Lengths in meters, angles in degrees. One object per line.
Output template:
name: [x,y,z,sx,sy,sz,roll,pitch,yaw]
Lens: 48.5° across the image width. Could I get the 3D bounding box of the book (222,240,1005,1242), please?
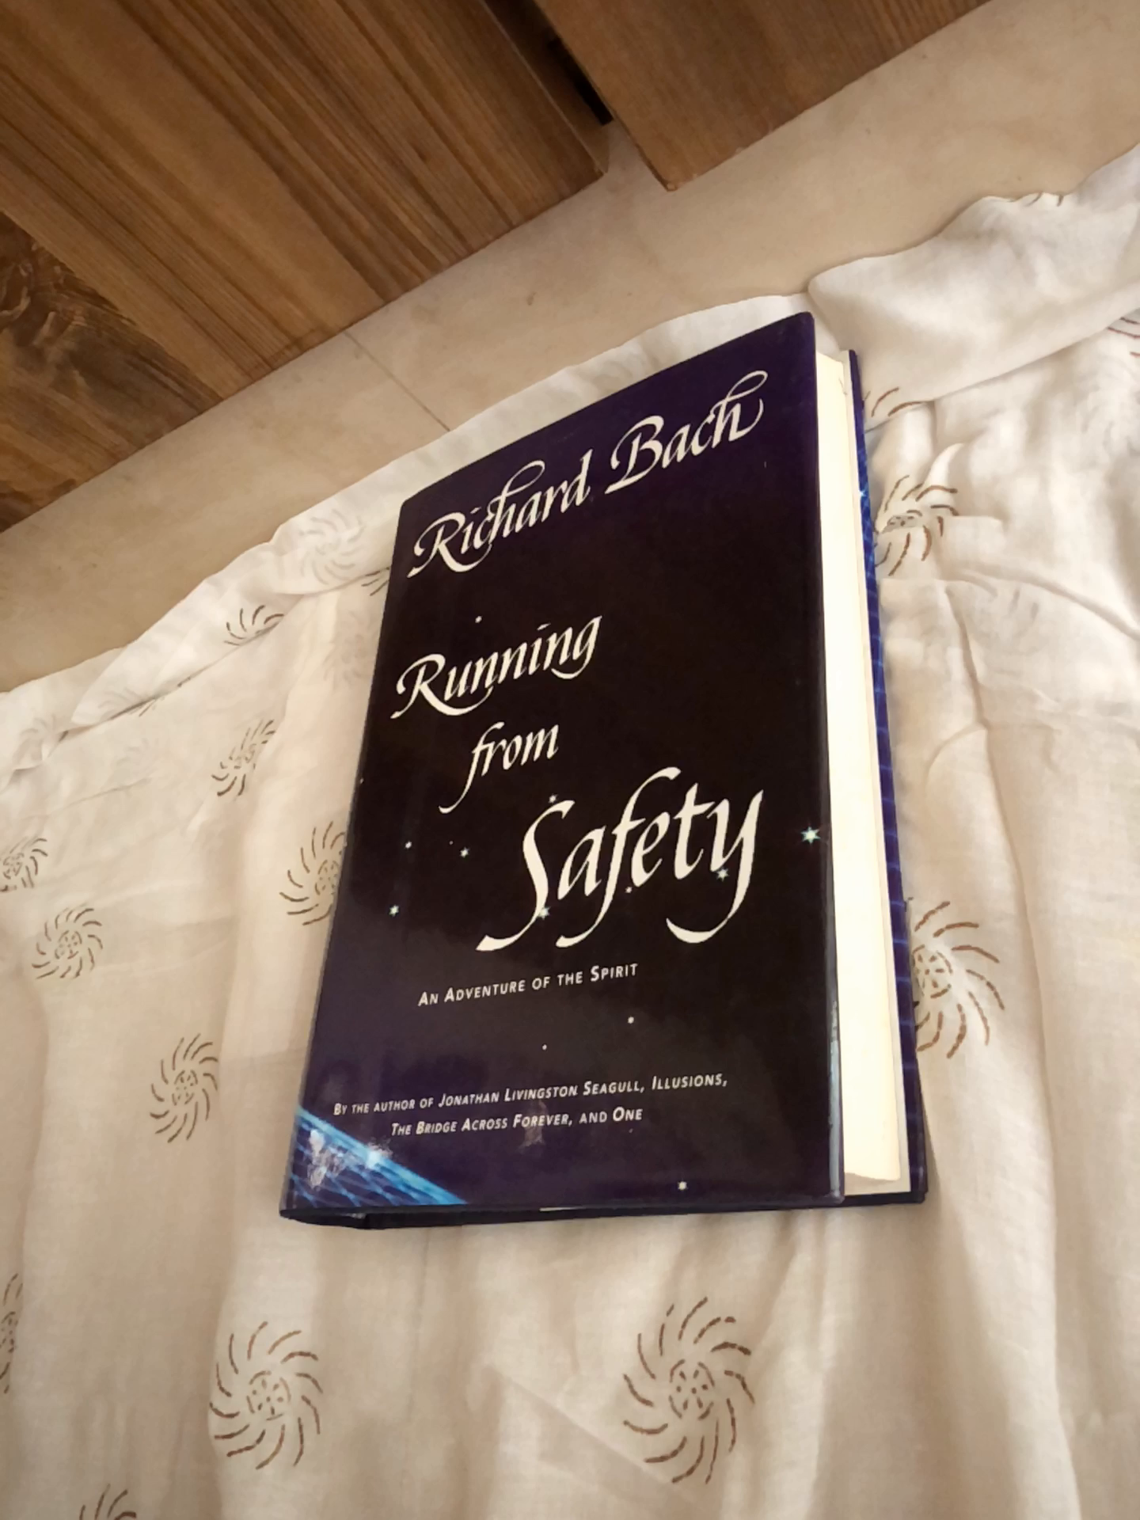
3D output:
book: [0.010,-0.010,0.338,0.171,0.040,0.250,-14,55,27]
